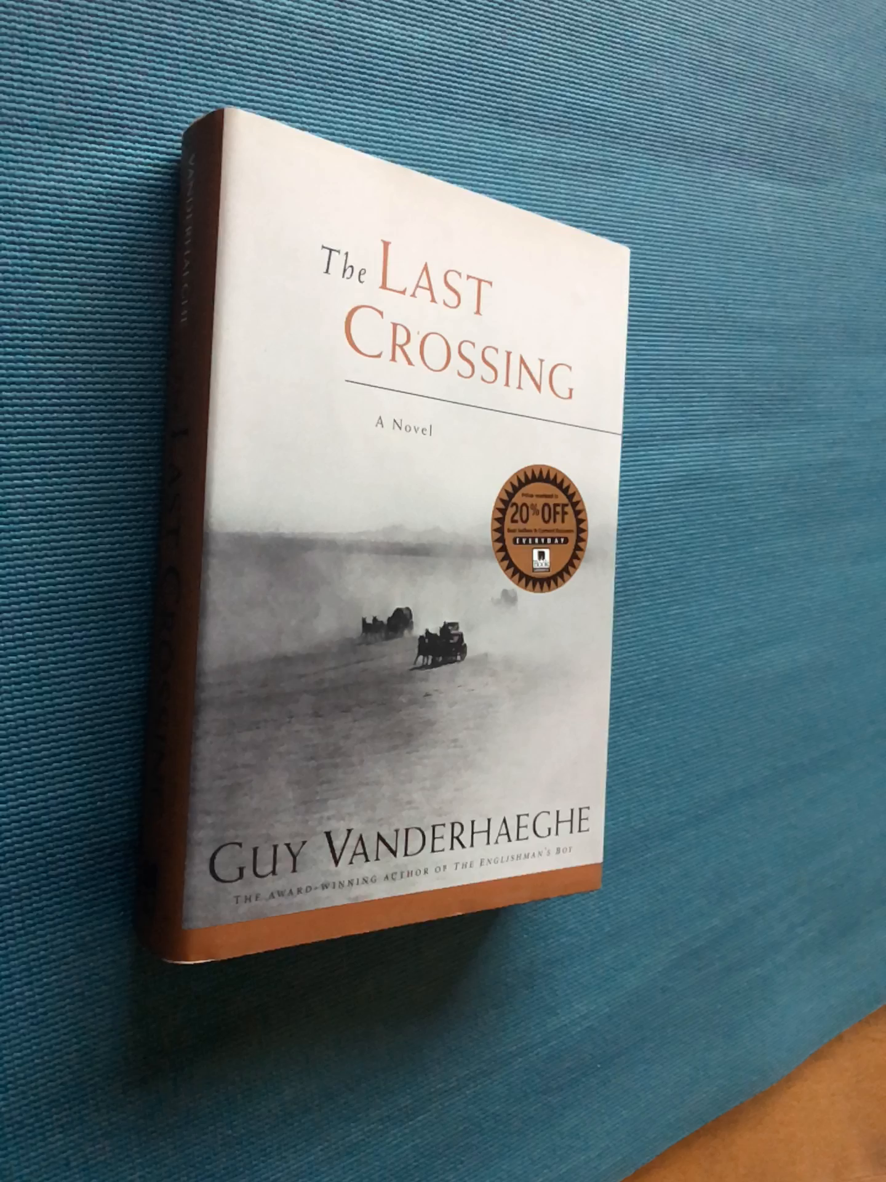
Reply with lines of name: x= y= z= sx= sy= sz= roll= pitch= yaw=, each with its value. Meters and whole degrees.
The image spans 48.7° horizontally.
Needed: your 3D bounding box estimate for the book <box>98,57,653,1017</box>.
book: x=-0.010 y=-0.011 z=0.302 sx=0.171 sy=0.040 sz=0.230 roll=3 pitch=88 yaw=-37
